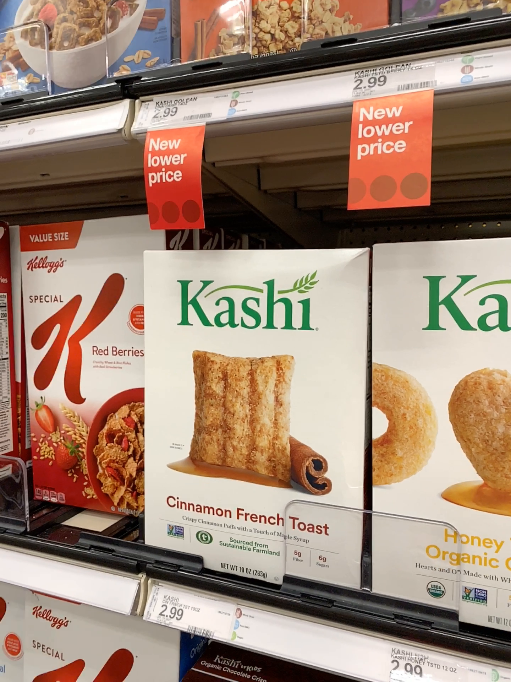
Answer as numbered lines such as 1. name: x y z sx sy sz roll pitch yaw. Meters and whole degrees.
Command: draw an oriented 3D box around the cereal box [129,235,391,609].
1. cereal box: 0.000 0.055 0.445 0.210 0.270 0.060 2 4 23
